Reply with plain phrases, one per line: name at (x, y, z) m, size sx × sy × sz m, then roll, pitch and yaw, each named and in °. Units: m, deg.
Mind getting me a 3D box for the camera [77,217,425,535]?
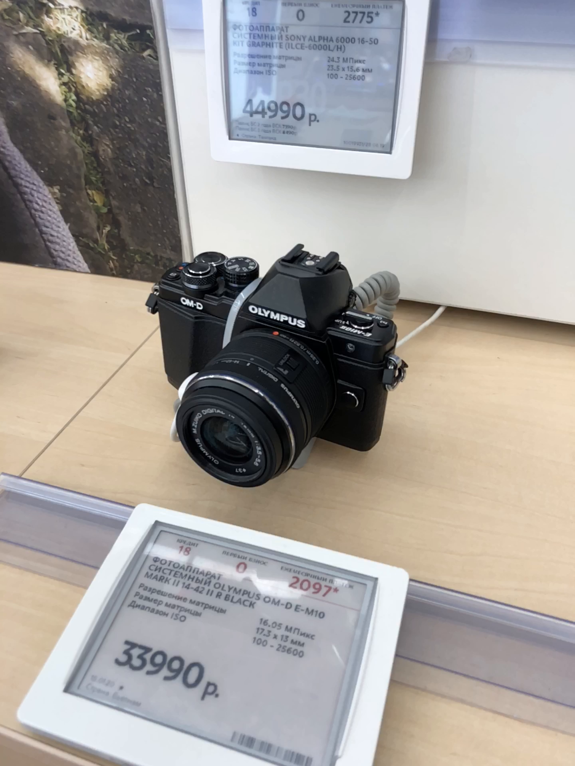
camera at (-0.010, -0.011, 0.288) m, size 0.112 × 0.079 × 0.101 m, roll 15°, pitch 40°, yaw 20°
